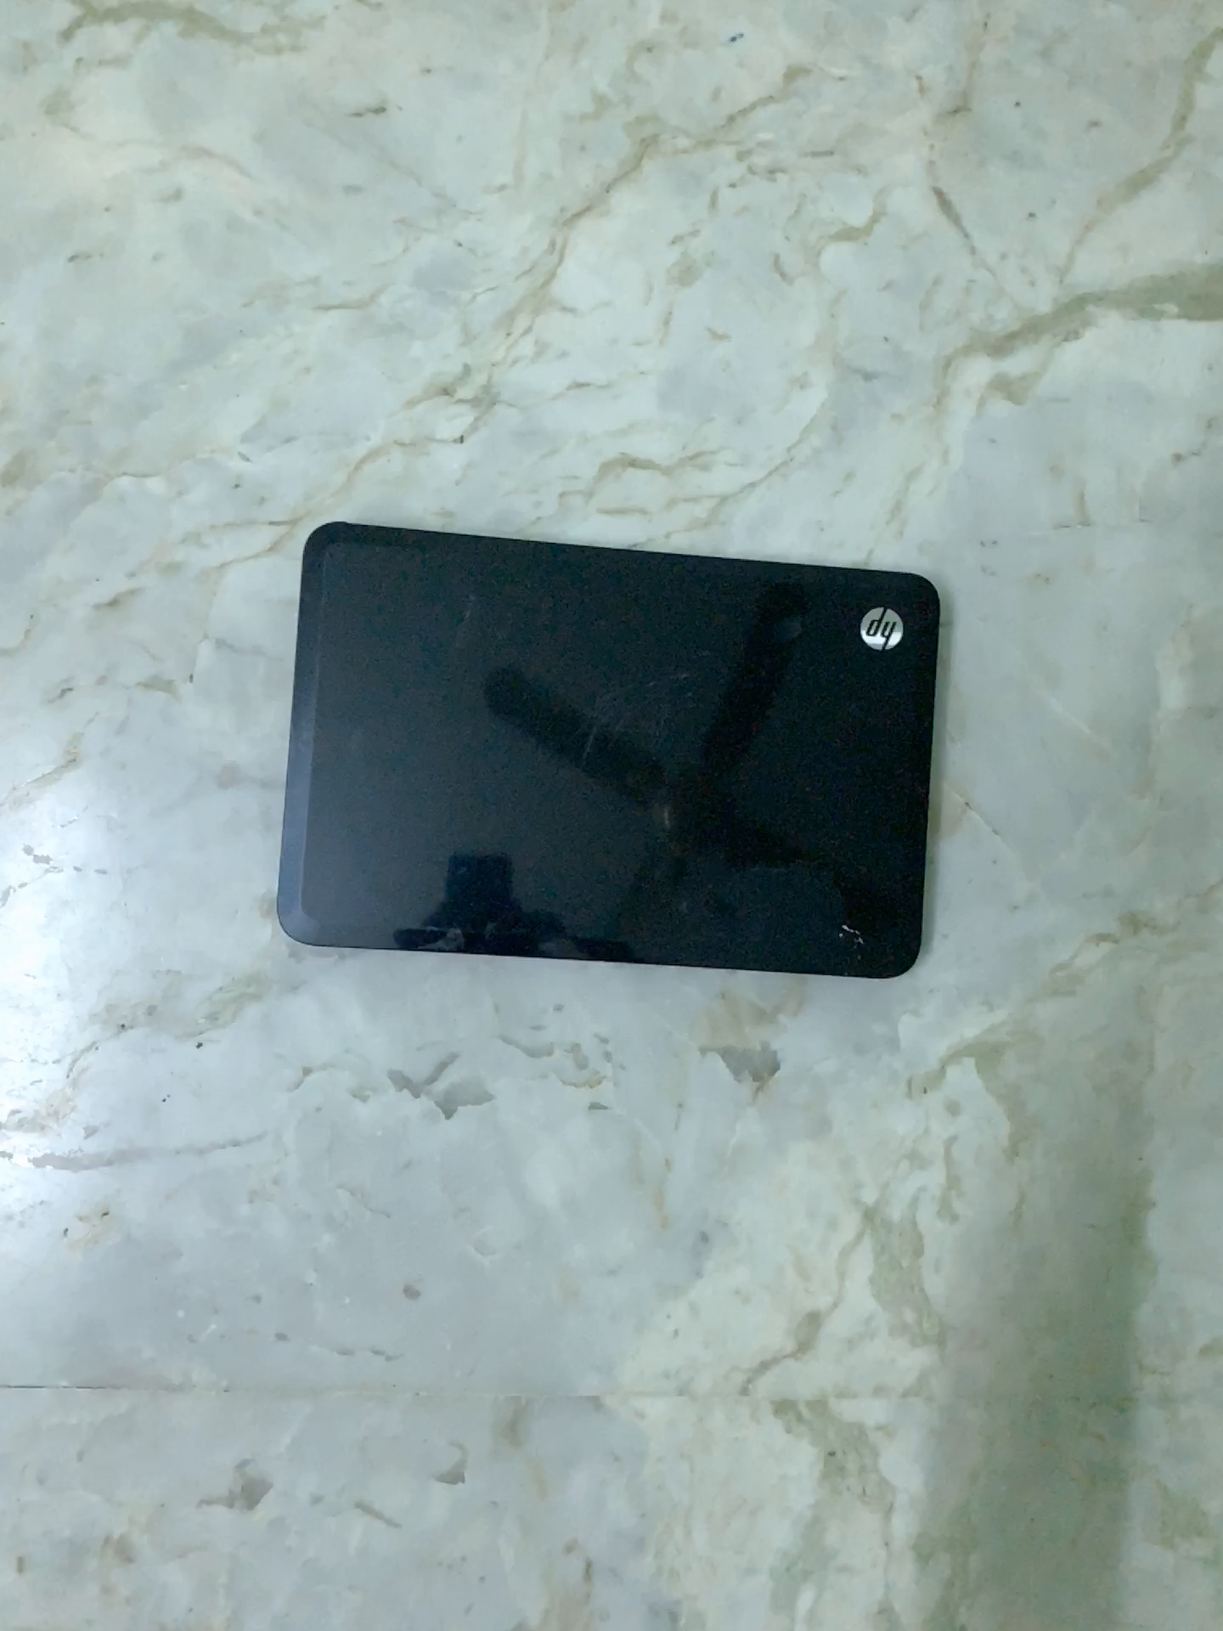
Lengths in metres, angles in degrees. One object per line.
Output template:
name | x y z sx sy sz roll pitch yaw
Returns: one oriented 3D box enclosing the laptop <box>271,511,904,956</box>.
laptop | -0.007 -0.045 0.688 0.333 0.022 0.222 4 80 -4
